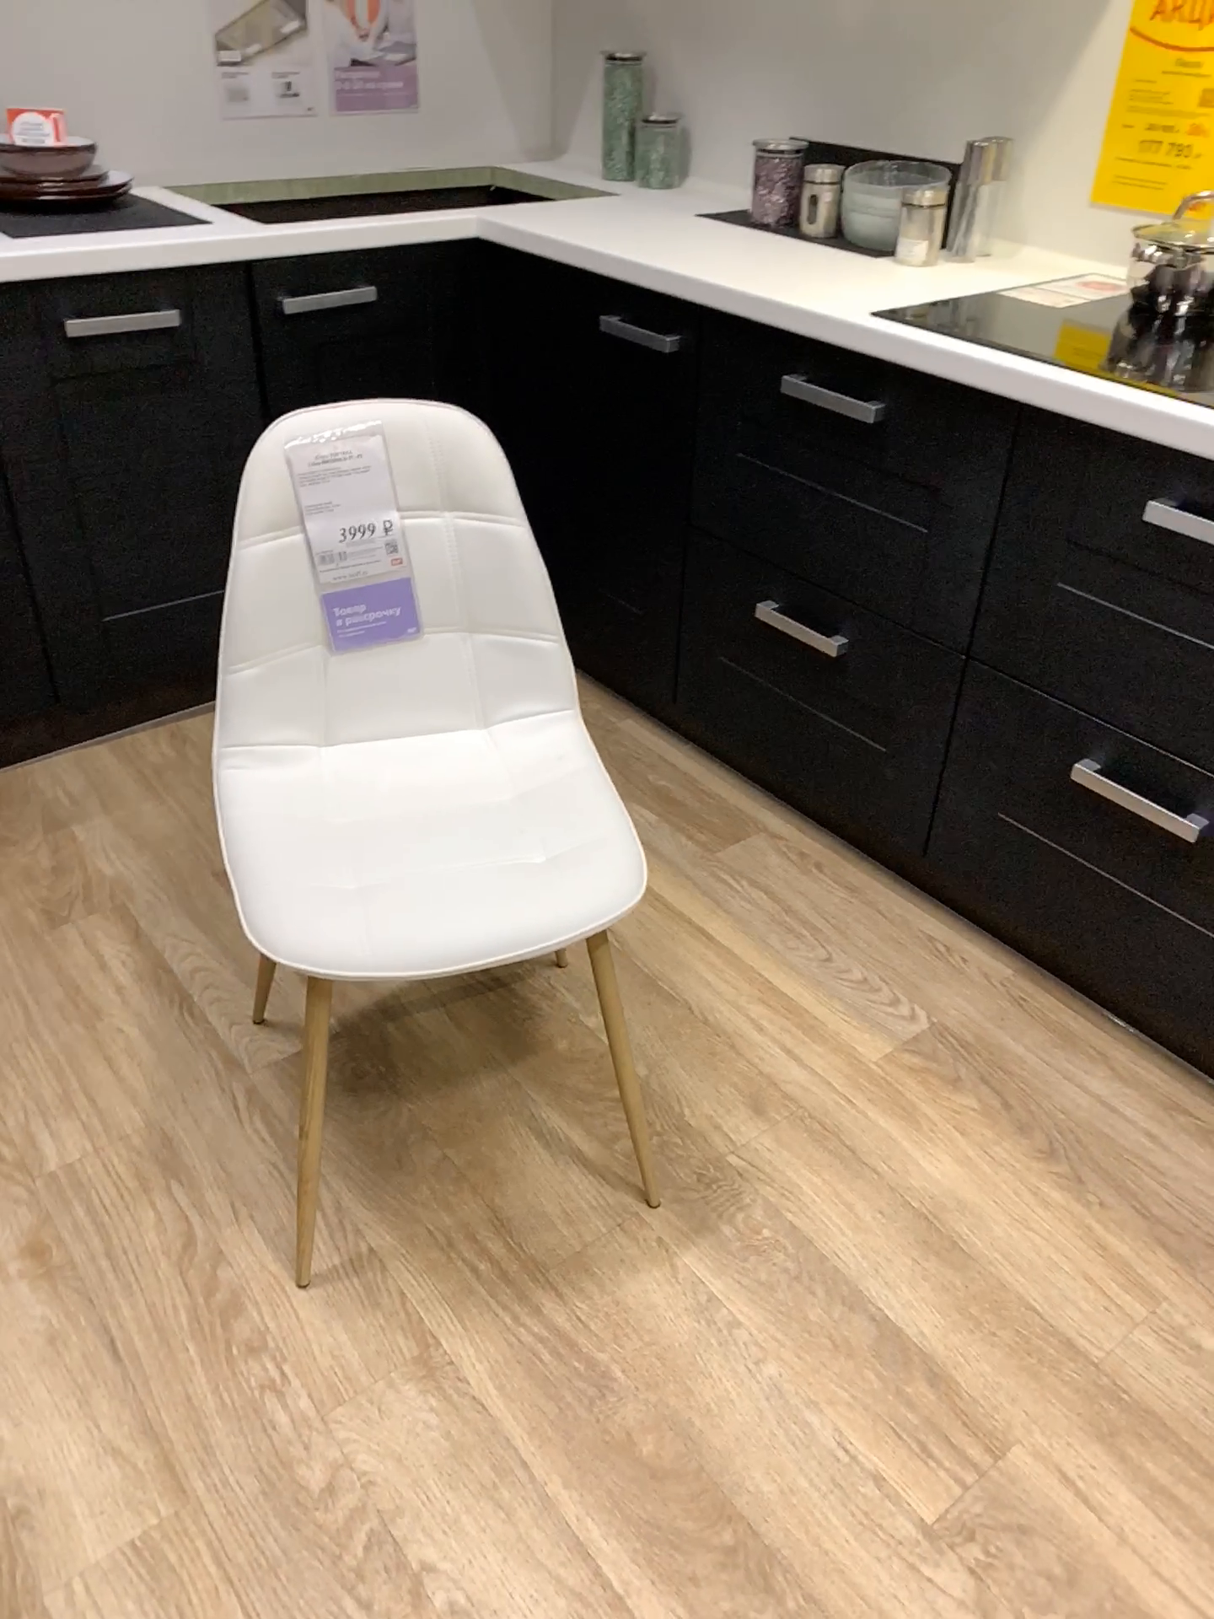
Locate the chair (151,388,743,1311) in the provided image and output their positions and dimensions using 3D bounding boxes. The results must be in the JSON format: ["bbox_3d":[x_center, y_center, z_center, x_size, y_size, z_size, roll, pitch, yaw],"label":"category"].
[{"bbox_3d":[-0.207,0.025,1.432,0.470,0.825,0.573,-8,35,-15],"label":"chair"}]
